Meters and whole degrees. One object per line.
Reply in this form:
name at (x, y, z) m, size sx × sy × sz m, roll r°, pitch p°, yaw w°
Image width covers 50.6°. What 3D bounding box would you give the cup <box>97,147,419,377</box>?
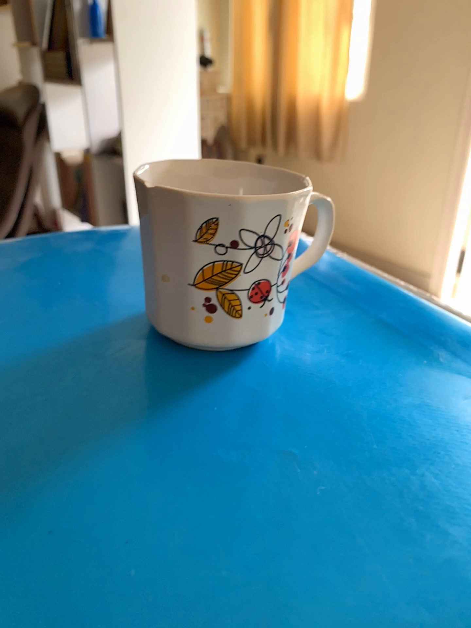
cup at (0.003, -0.028, 0.197) m, size 0.100 × 0.060 × 0.070 m, roll -8°, pitch 28°, yaw -17°
